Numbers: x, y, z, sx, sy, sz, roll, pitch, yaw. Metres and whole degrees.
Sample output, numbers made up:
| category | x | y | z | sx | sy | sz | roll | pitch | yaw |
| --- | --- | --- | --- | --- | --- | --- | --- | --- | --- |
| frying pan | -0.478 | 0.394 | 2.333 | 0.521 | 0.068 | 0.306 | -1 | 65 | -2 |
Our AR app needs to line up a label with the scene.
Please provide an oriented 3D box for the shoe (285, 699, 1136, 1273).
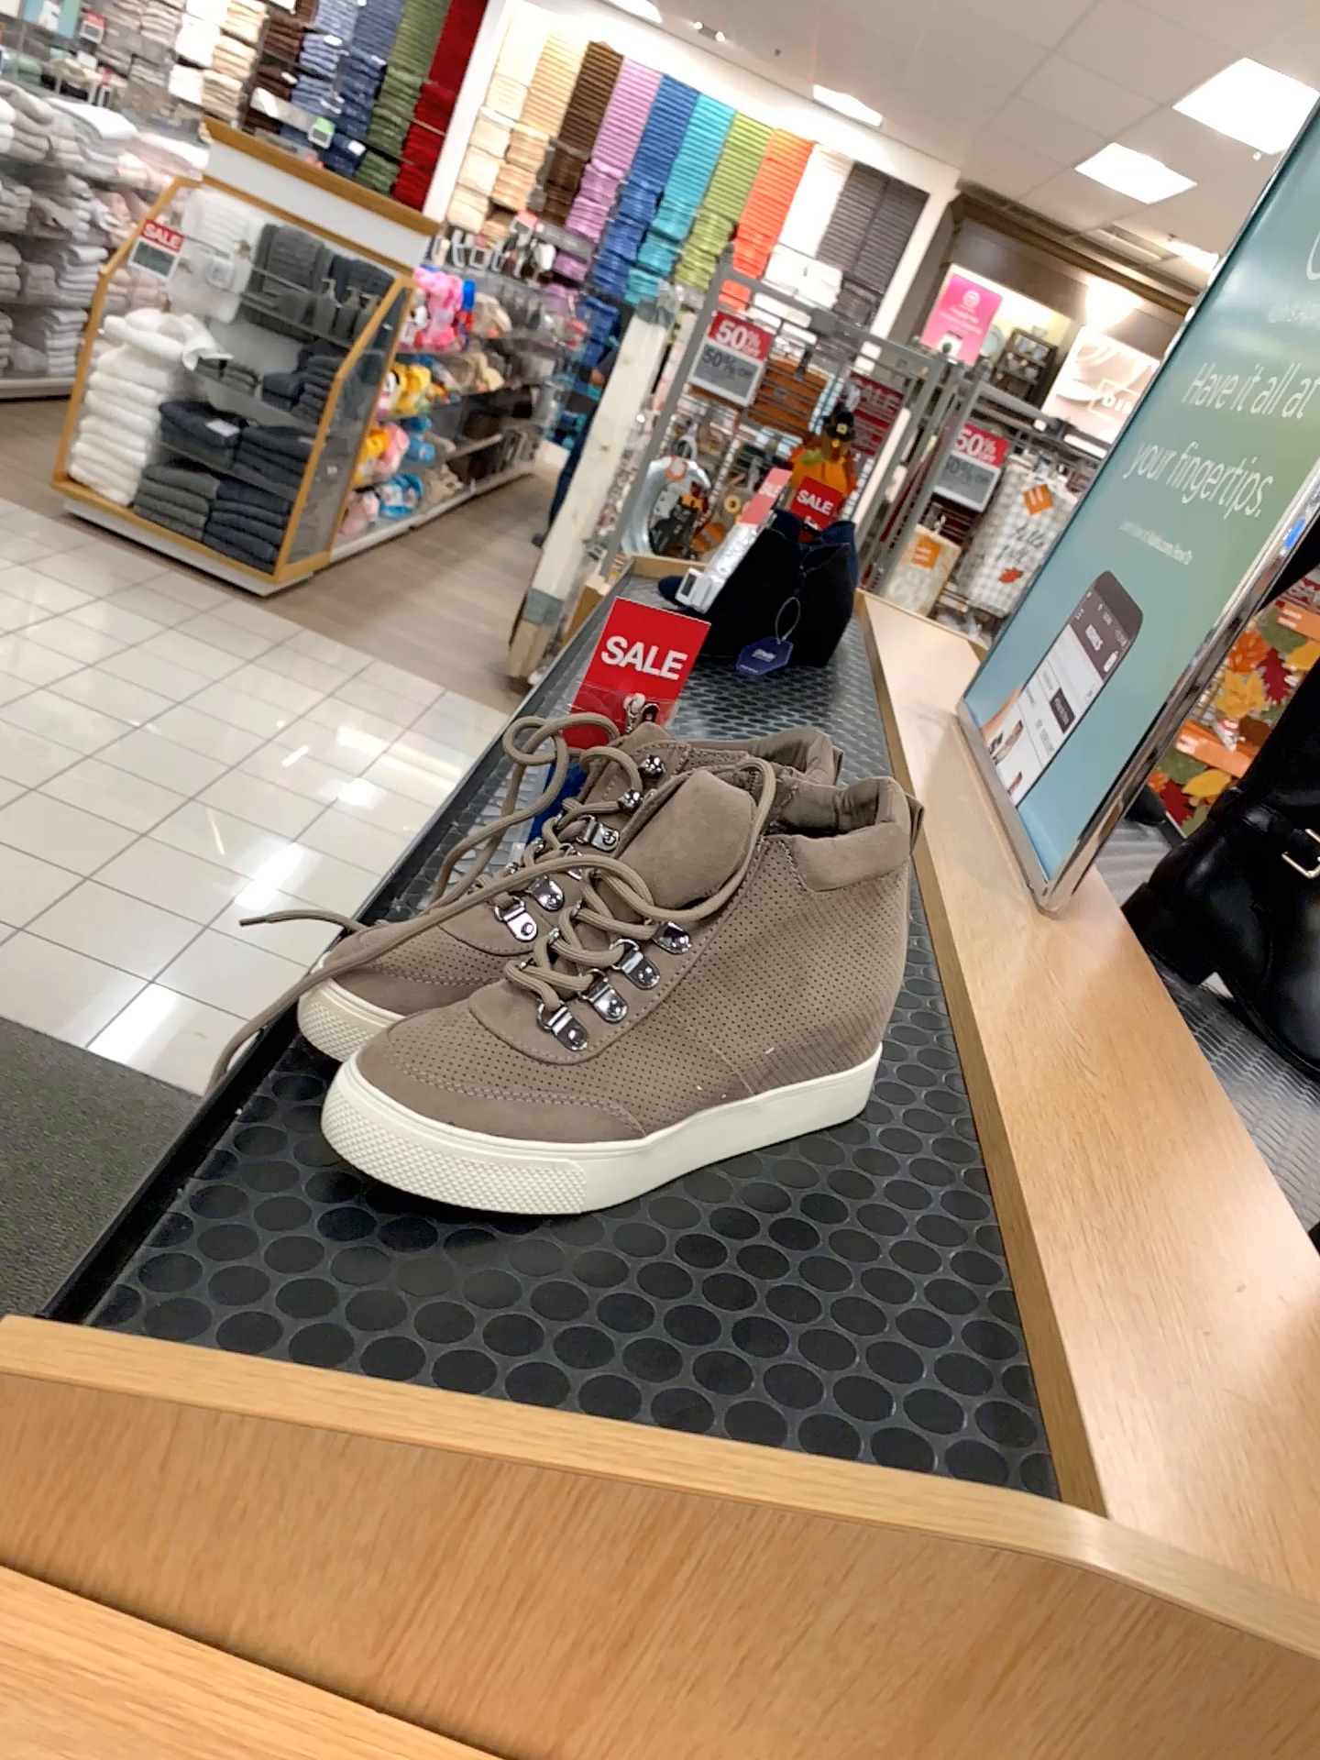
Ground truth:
| category | x | y | z | sx | sy | sz | roll | pitch | yaw |
| --- | --- | --- | --- | --- | --- | --- | --- | --- | --- |
| shoe | 0.027 | 0.045 | 0.531 | 0.291 | 0.160 | 0.100 | 6 | 22 | -35 |

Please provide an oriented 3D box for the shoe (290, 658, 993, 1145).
| category | x | y | z | sx | sy | sz | roll | pitch | yaw |
| --- | --- | --- | --- | --- | --- | --- | --- | --- | --- |
| shoe | -0.007 | 0.019 | 0.605 | 0.261 | 0.160 | 0.100 | 9 | 21 | -31 |
